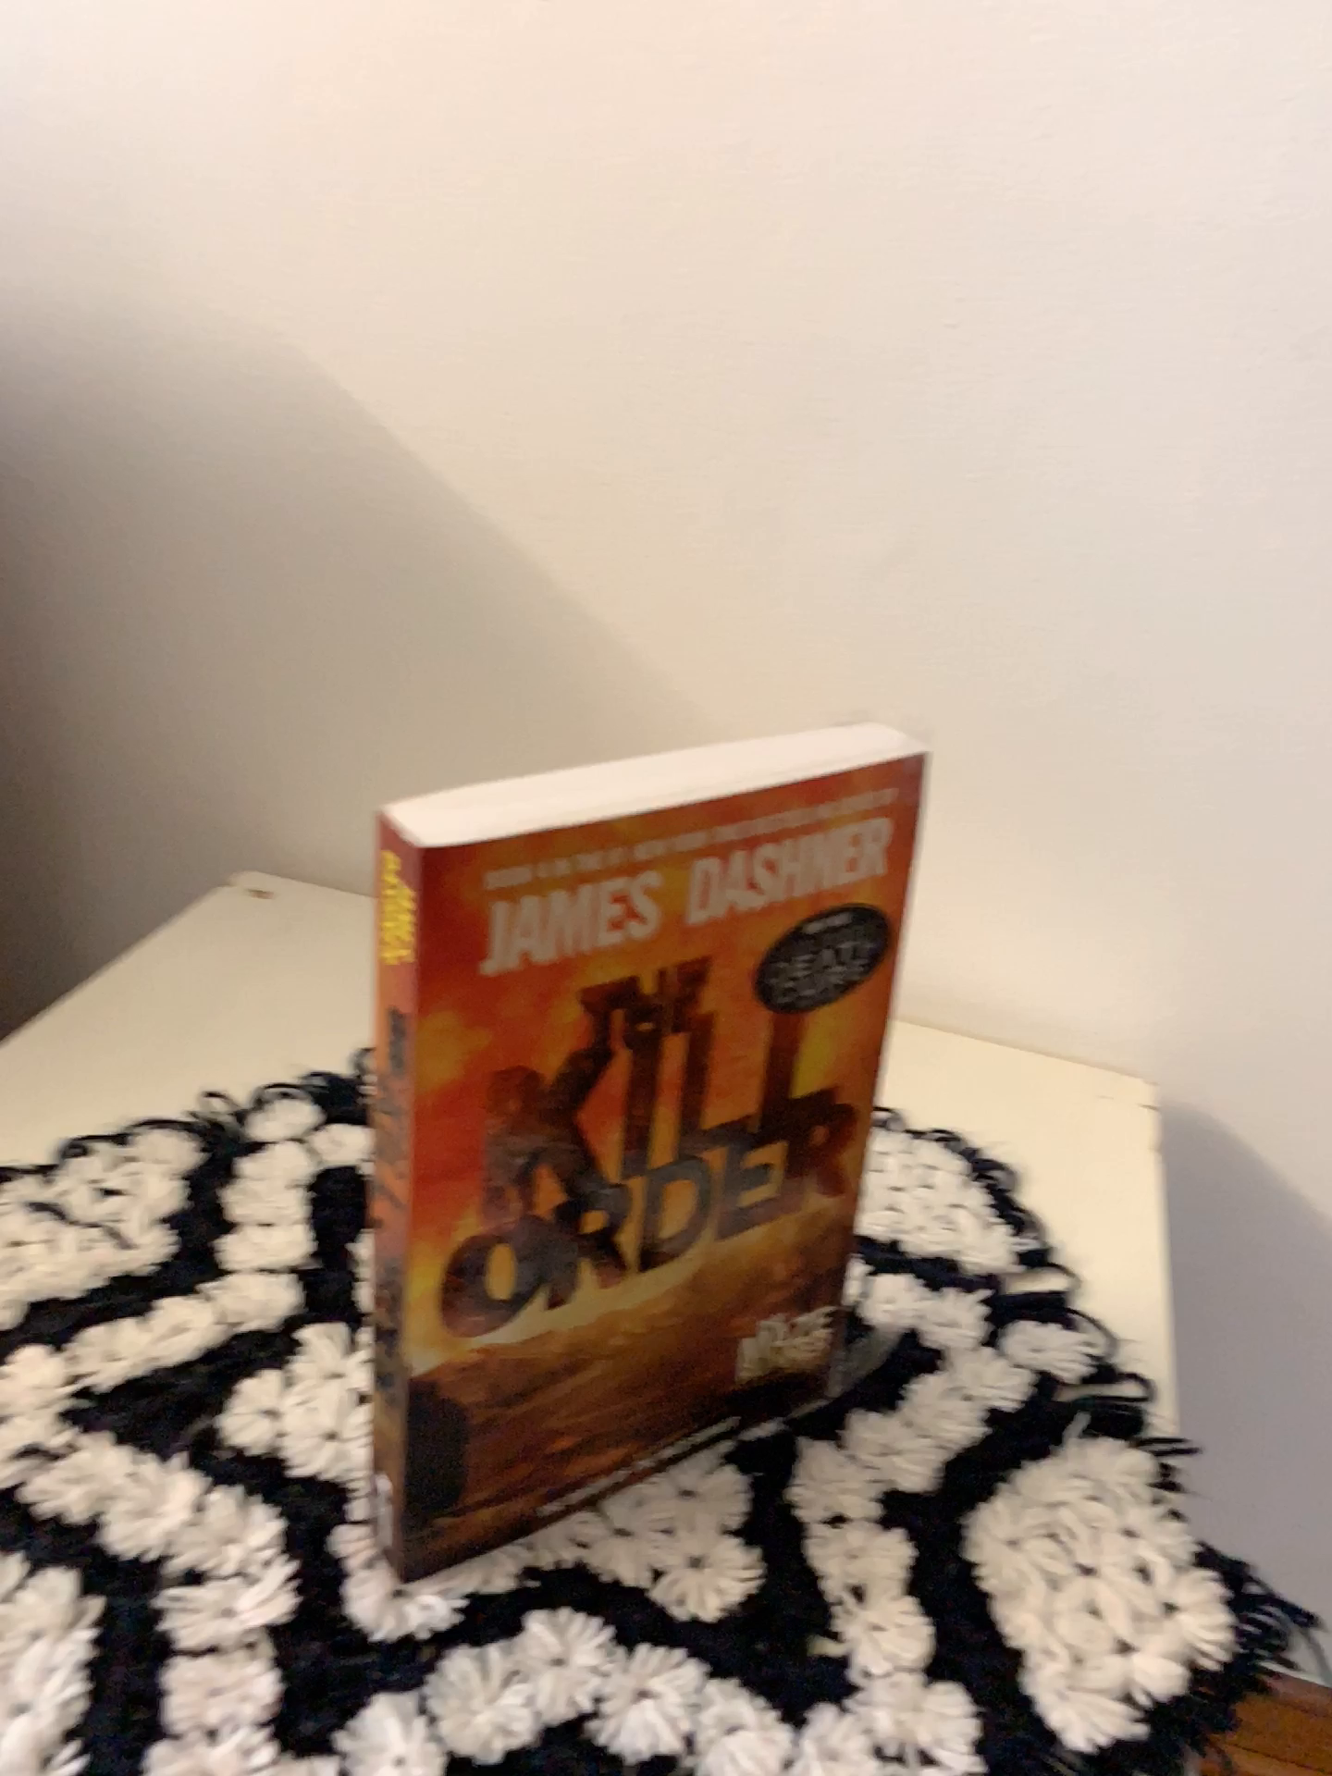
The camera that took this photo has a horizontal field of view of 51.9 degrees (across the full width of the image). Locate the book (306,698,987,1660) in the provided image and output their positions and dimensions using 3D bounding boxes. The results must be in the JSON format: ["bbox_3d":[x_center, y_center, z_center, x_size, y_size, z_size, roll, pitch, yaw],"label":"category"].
[{"bbox_3d":[-0.006,0.069,0.345,0.161,0.218,0.030,-11,28,-33],"label":"book"}]
